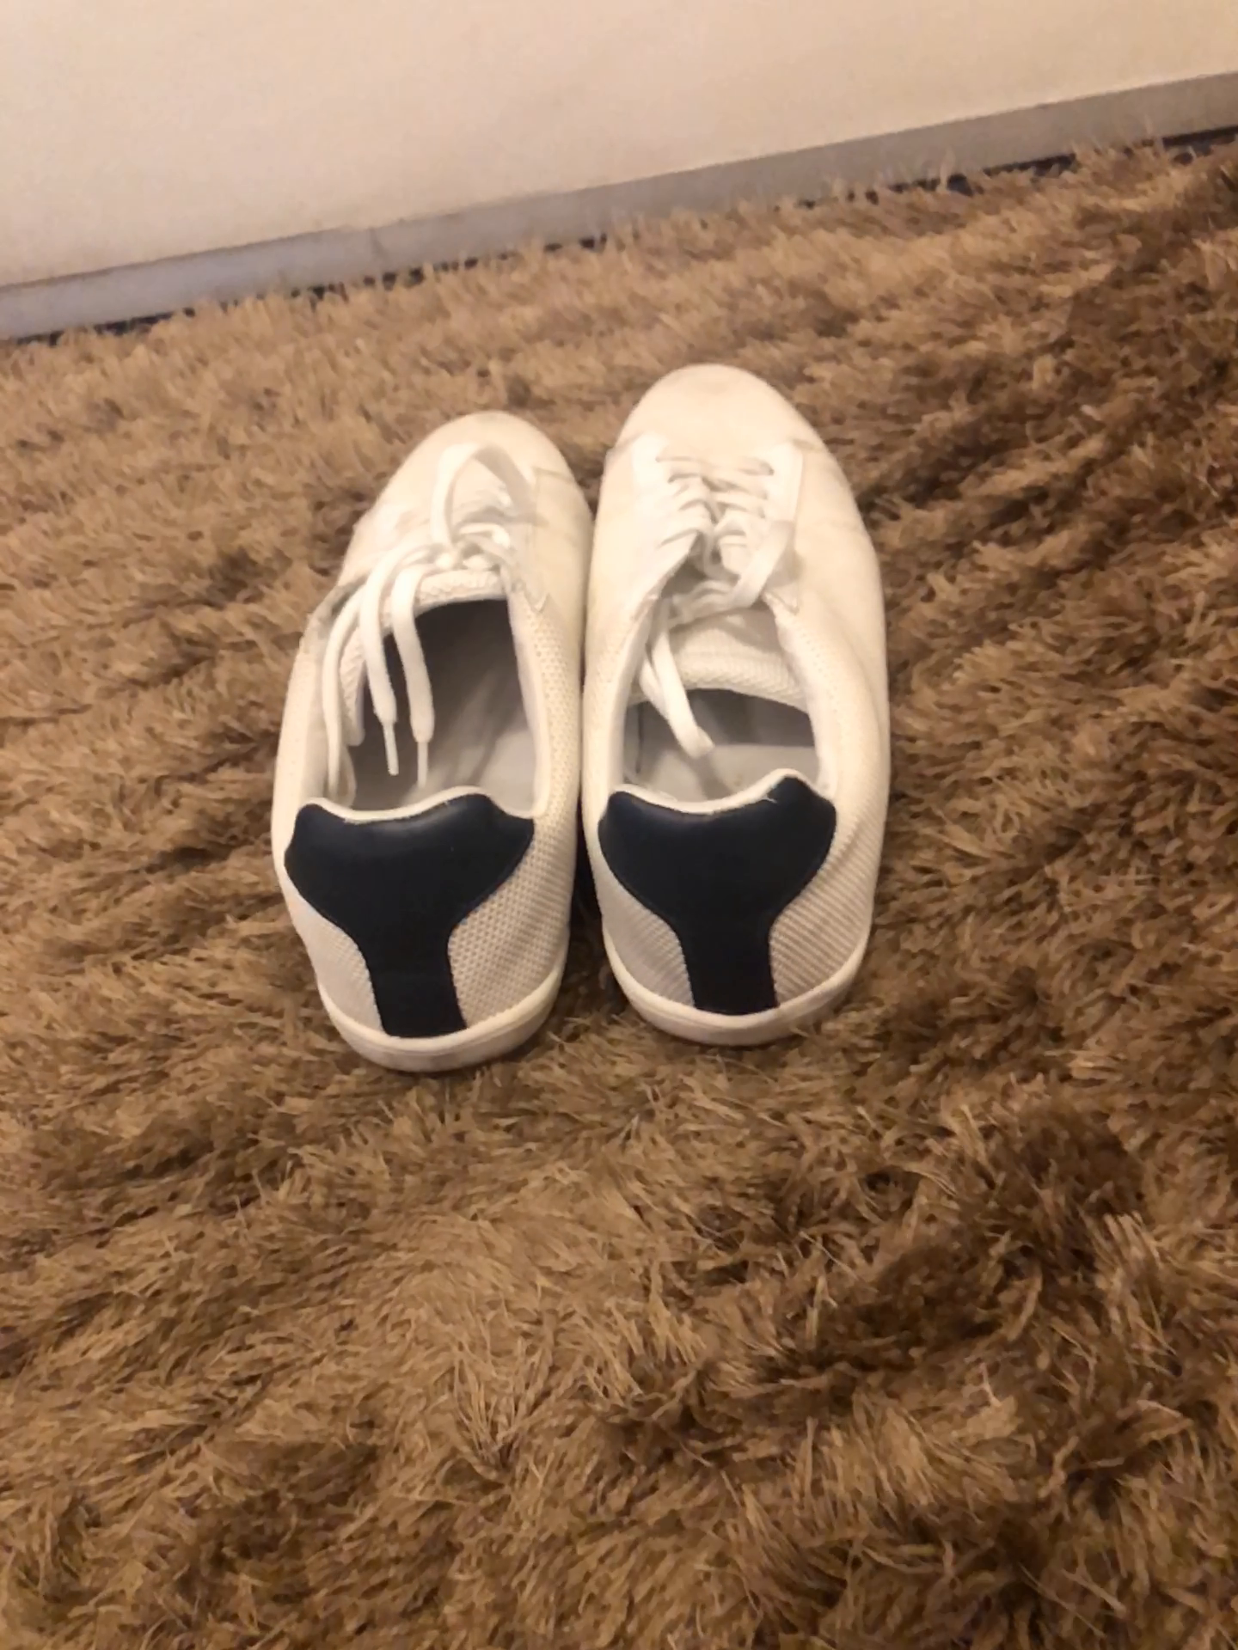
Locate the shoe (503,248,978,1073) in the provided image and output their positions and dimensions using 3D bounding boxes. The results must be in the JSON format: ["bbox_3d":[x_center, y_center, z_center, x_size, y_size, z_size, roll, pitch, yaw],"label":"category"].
[{"bbox_3d":[0.034,-0.065,0.417,0.104,0.079,0.264,-6,49,8],"label":"shoe"}]

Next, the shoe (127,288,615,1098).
[{"bbox_3d":[-0.058,-0.056,0.429,0.100,0.079,0.264,-6,49,7],"label":"shoe"}]
